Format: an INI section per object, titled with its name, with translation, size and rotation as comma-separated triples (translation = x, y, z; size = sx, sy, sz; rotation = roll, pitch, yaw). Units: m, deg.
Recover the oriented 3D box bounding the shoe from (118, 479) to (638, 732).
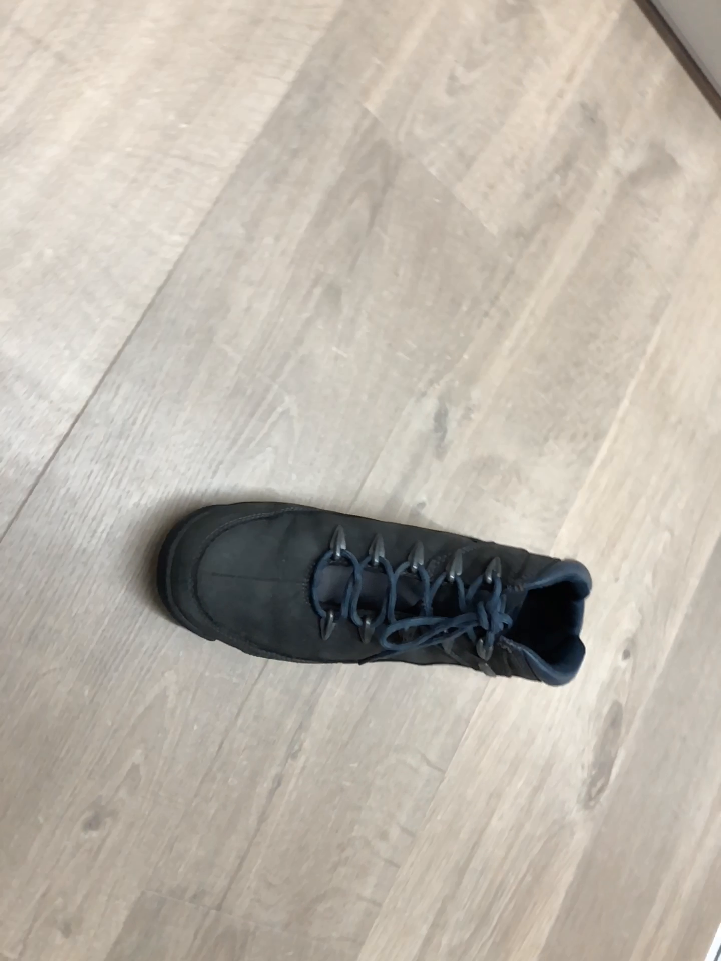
[shoe]
translation = 0.017, 0.079, 0.501
size = 0.291, 0.130, 0.110
rotation = 10, 90, -31
